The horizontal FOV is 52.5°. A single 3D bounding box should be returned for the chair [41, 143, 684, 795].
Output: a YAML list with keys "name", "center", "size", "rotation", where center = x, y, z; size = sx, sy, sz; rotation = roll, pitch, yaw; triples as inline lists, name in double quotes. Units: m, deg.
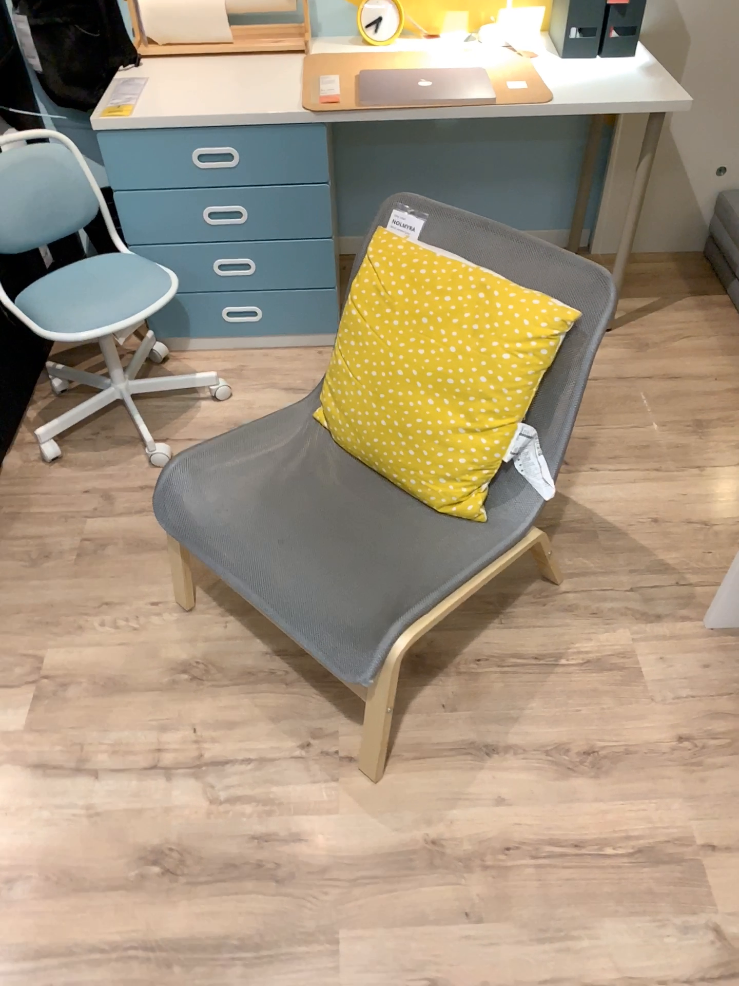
- name: "chair"
  center: [0.002, -0.079, 1.314]
  size: [0.631, 0.708, 0.671]
  rotation: [33, 53, 30]
